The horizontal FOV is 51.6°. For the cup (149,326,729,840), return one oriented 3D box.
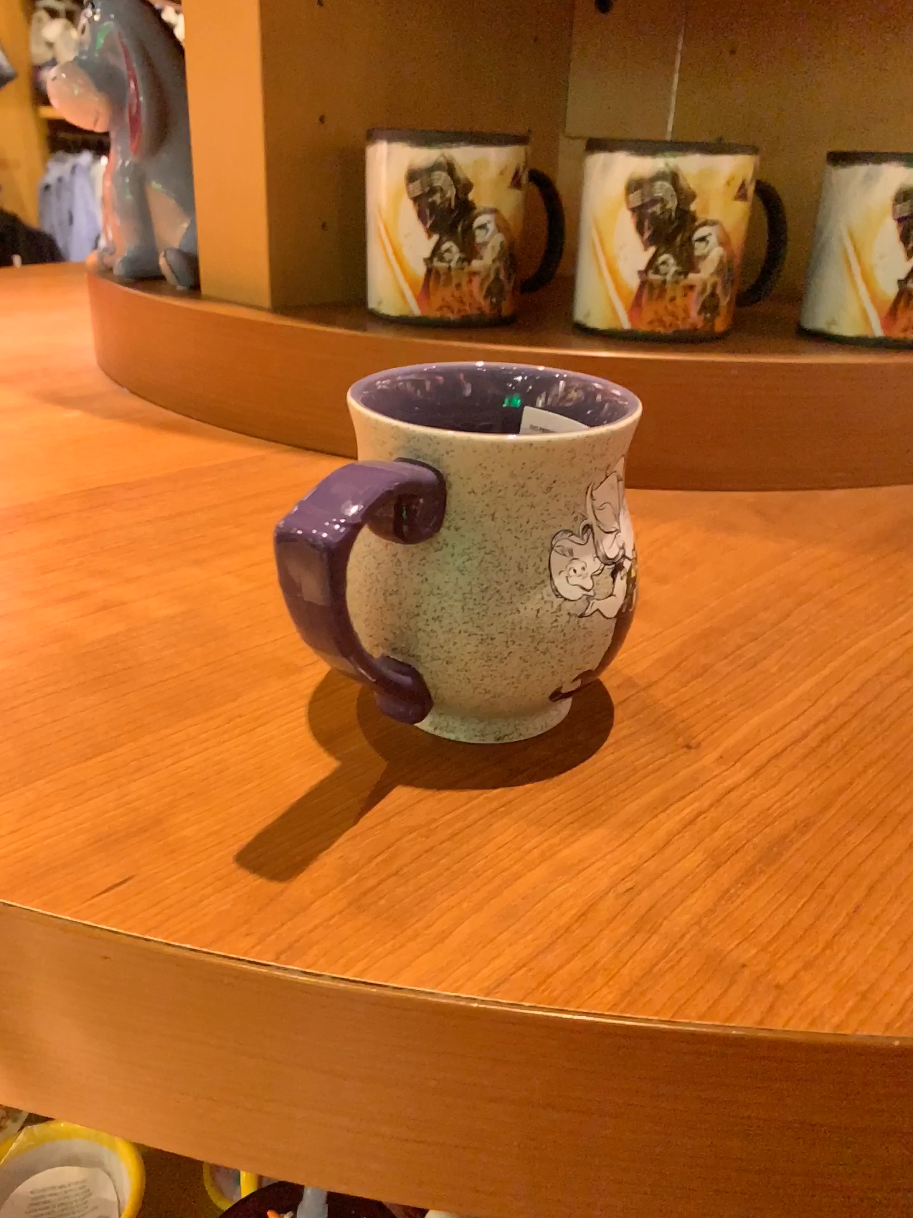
[{"bbox_3d":[-0.001,-0.025,0.307,0.115,0.099,0.141,20,31,31],"label":"cup"}]
